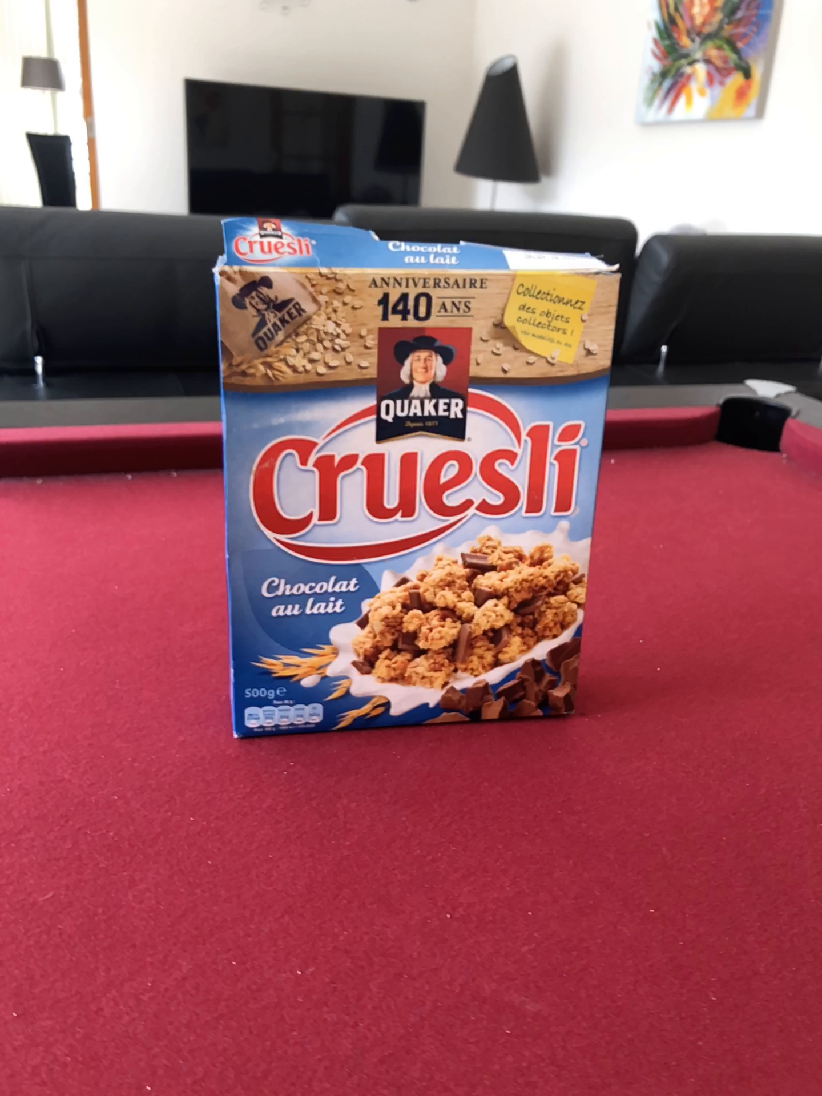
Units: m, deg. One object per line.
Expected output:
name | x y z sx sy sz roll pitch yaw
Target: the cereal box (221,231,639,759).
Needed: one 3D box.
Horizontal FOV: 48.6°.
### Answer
cereal box | 0.002 -0.023 0.476 0.190 0.259 0.050 -3 23 -15
